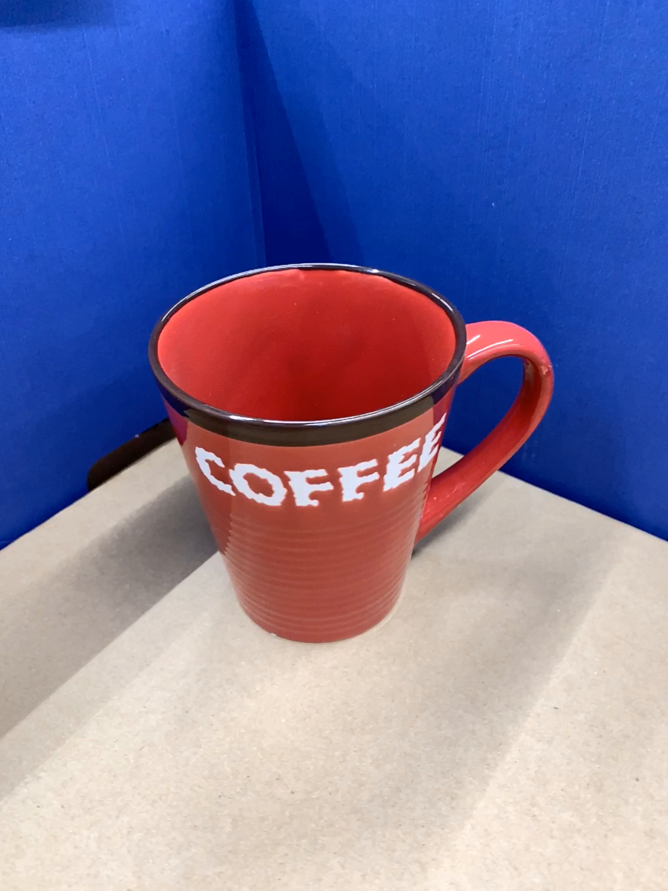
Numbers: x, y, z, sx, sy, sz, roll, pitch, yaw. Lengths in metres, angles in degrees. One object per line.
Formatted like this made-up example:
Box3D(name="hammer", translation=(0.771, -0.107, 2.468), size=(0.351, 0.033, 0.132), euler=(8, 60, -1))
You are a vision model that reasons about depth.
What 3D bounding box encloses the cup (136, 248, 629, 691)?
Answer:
Box3D(name="cup", translation=(0.005, 0.000, 0.237), size=(0.125, 0.092, 0.101), euler=(-8, 36, -10))
